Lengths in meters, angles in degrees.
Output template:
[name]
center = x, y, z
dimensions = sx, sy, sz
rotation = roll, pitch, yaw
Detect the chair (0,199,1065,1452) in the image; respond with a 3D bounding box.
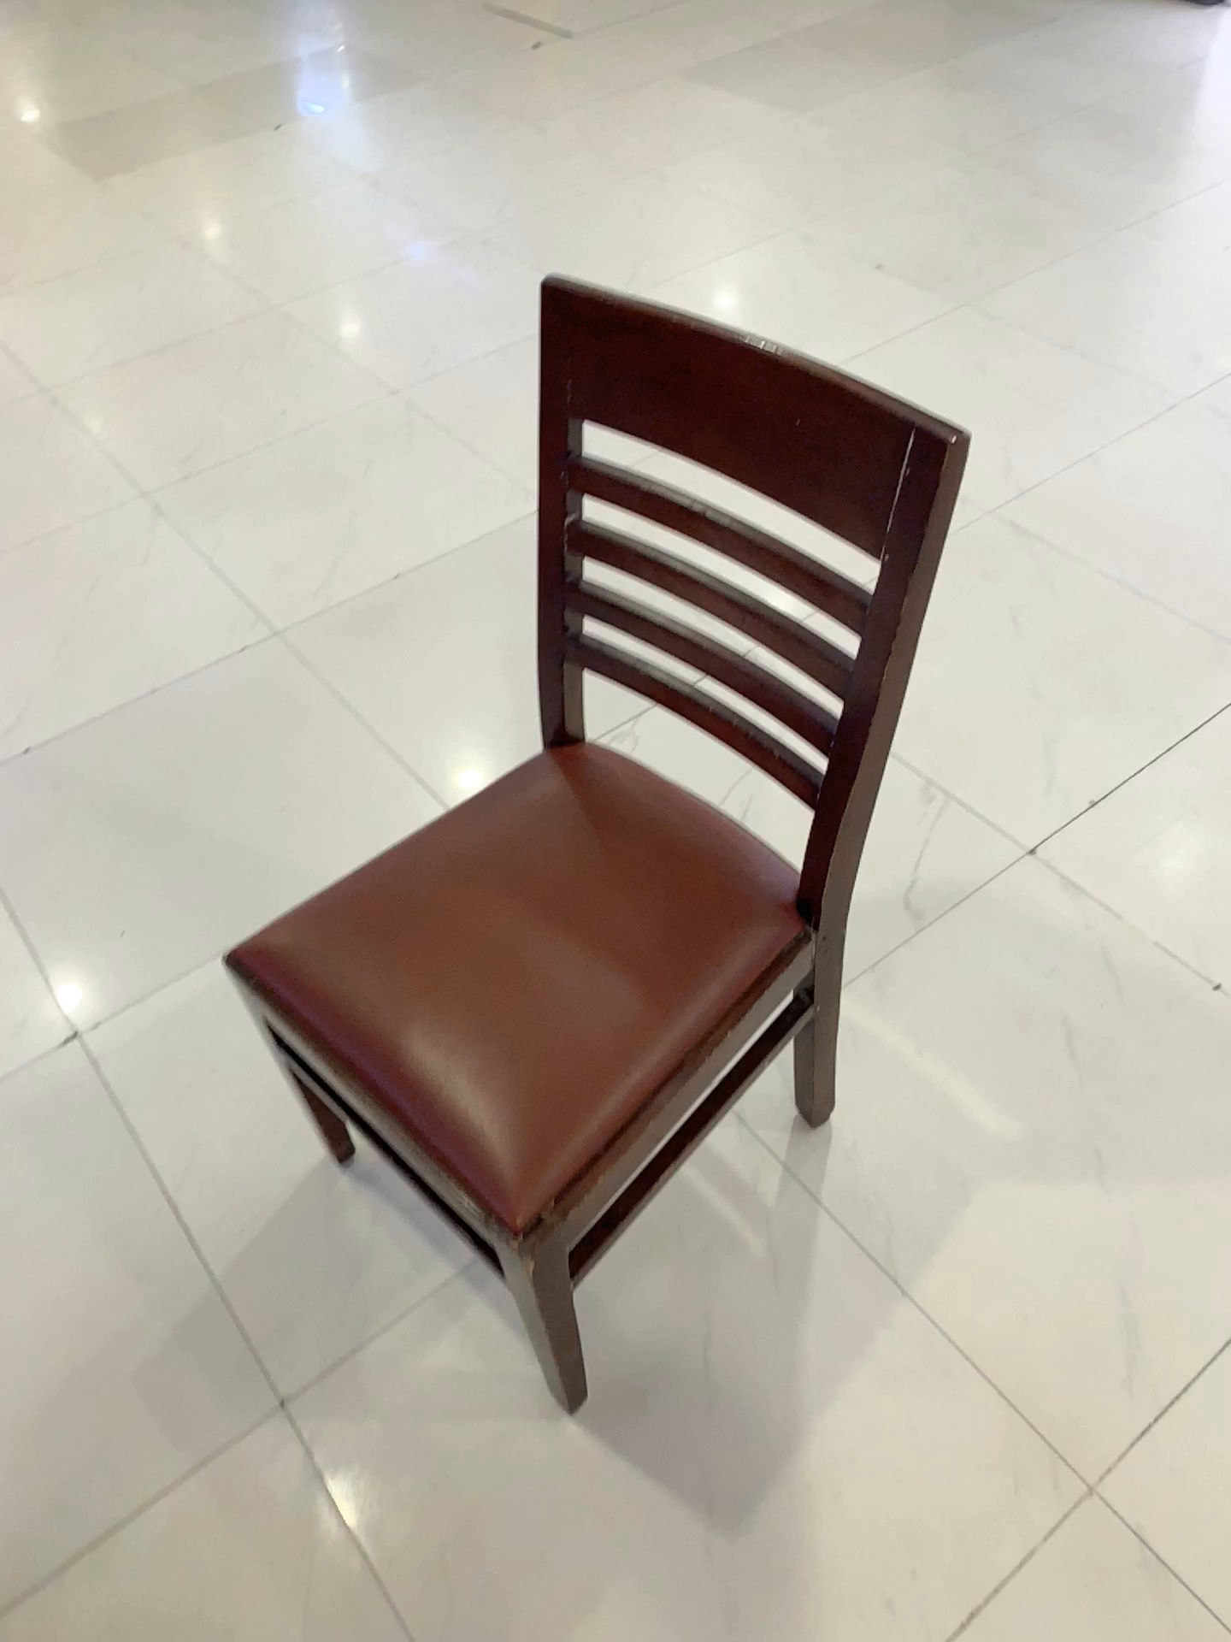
[chair]
center = -0.074, 0.009, 1.107
dimensions = 0.542, 0.783, 0.562
rotation = -37, 54, -27
